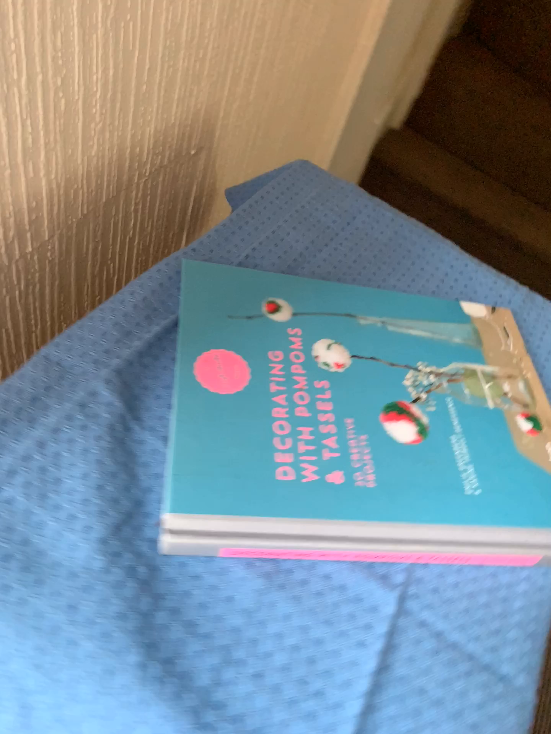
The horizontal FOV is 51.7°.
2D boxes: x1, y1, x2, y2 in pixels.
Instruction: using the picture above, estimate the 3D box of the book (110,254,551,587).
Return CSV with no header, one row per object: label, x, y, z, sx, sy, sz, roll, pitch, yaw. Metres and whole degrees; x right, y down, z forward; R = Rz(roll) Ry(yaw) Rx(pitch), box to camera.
book,0.046,0.024,0.322,0.250,0.020,0.191,6,49,-15
